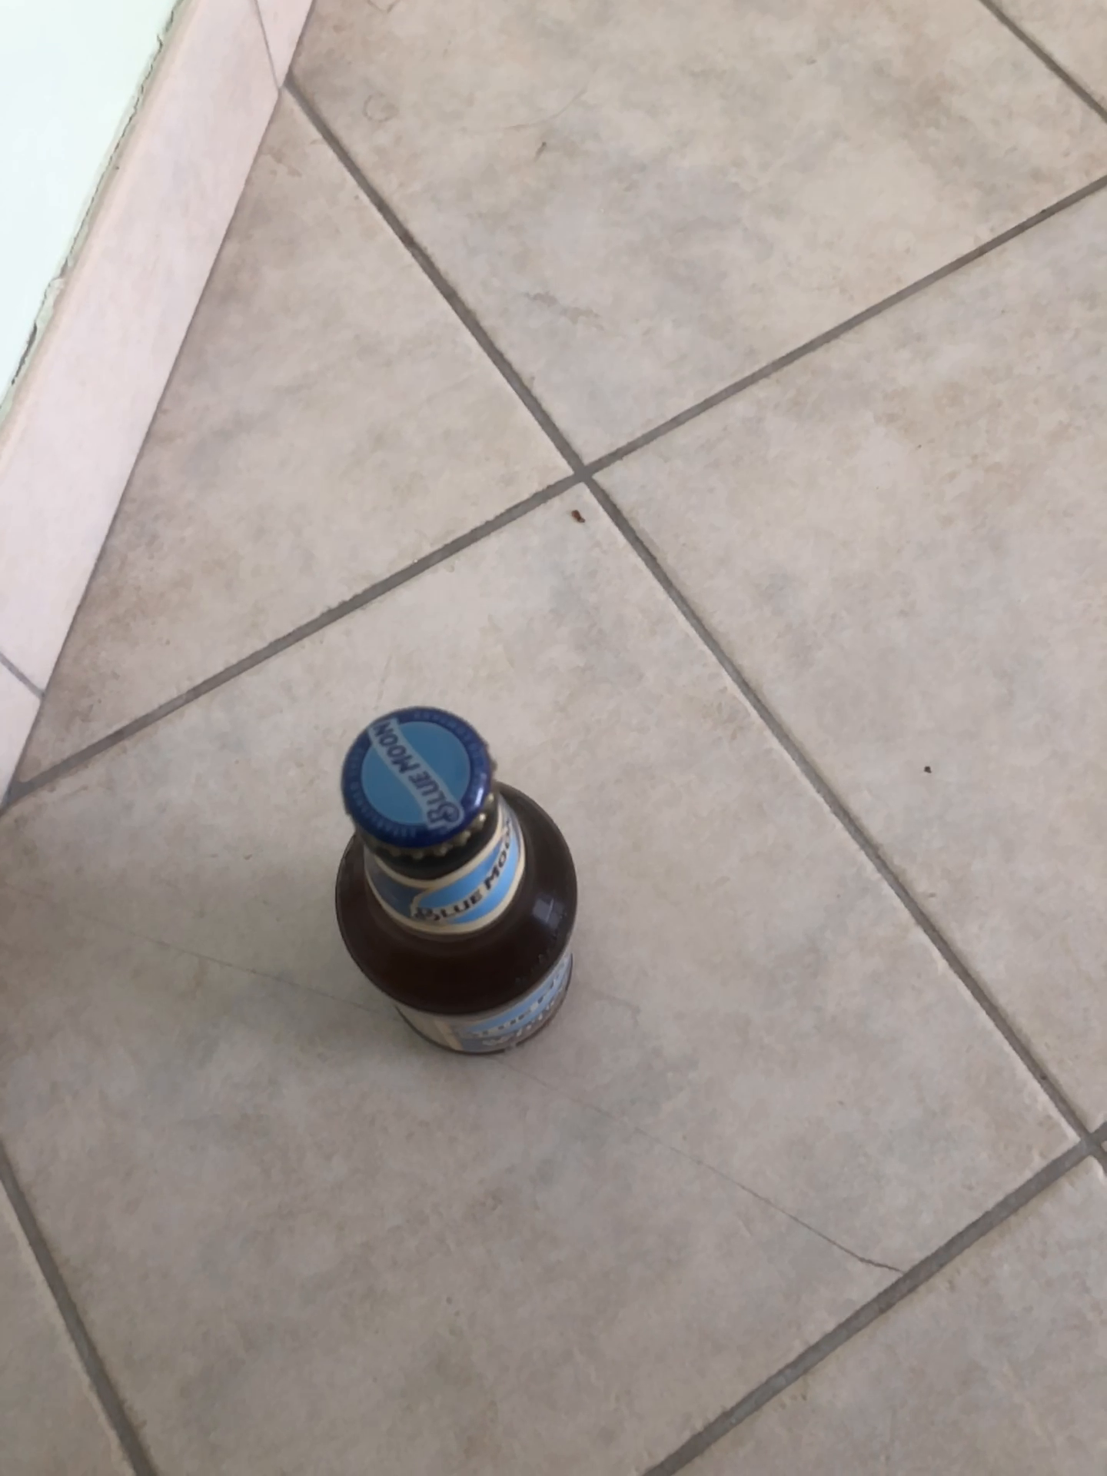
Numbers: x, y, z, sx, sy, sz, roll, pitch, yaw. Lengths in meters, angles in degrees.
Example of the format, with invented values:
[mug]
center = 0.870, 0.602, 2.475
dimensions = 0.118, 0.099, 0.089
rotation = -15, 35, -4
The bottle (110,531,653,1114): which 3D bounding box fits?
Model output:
[bottle]
center = -0.032, 0.042, 0.319
dimensions = 0.070, 0.210, 0.070
rotation = 0, 70, 0
